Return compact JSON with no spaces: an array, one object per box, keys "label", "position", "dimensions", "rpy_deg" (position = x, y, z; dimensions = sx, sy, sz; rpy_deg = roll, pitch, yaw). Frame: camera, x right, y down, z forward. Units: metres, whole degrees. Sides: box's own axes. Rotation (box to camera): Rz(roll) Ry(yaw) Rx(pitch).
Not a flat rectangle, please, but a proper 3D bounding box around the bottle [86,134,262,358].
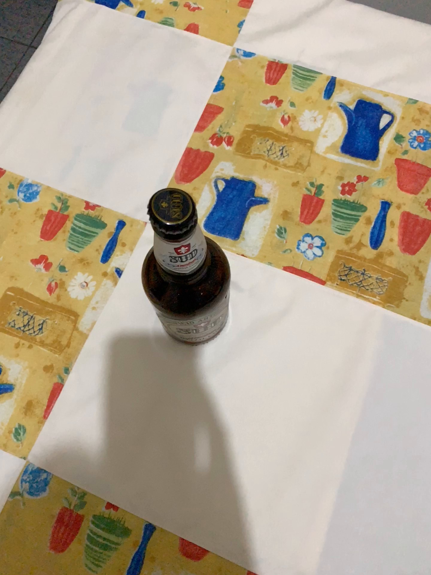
[{"label":"bottle","position":[-0.024,-0.009,0.363],"dimensions":[0.080,0.240,0.070],"rpy_deg":[-21,73,-6]}]
